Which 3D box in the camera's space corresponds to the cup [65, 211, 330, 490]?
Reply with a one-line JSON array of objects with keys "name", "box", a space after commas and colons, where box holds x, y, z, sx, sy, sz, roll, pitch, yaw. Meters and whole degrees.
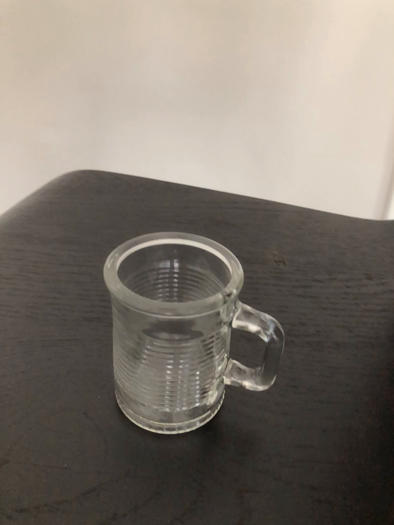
[{"name": "cup", "box": [0.001, 0.036, 0.202, 0.090, 0.080, 0.060, 19, 39, 23]}]
